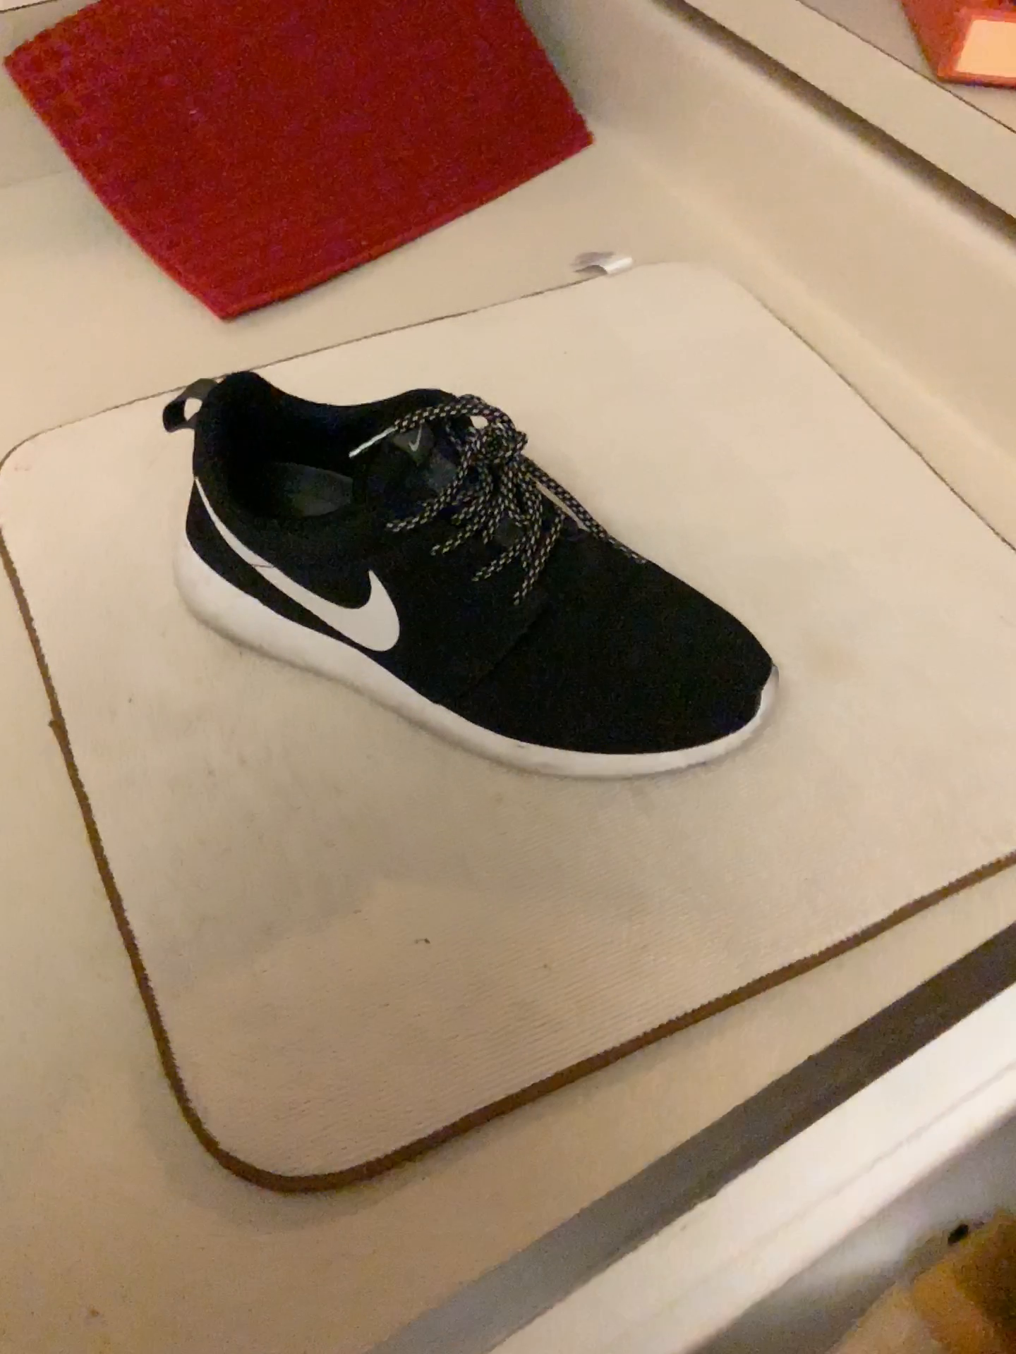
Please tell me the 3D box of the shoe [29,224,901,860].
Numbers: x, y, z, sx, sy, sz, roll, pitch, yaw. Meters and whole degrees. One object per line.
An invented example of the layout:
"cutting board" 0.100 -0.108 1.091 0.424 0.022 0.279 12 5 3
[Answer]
"shoe" -0.014 -0.058 0.449 0.280 0.120 0.130 19 56 12
